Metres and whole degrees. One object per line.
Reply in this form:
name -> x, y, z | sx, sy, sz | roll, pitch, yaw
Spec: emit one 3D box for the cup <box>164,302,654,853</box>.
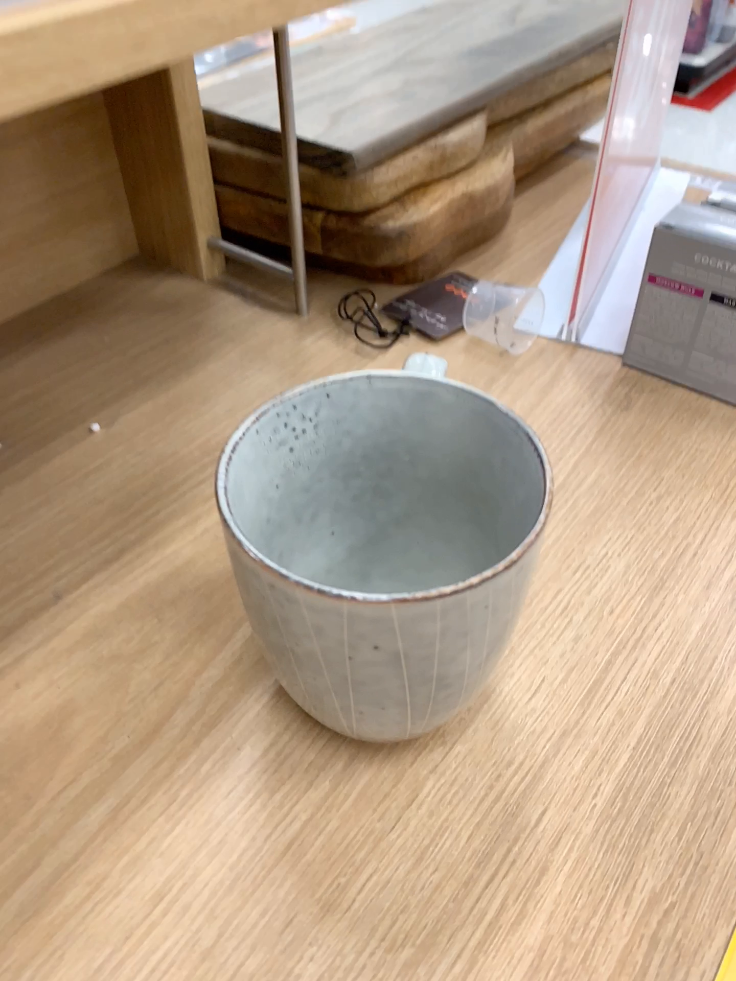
cup -> 0.014, 0.022, 0.248 | 0.107, 0.098, 0.136 | 6, 45, 4
